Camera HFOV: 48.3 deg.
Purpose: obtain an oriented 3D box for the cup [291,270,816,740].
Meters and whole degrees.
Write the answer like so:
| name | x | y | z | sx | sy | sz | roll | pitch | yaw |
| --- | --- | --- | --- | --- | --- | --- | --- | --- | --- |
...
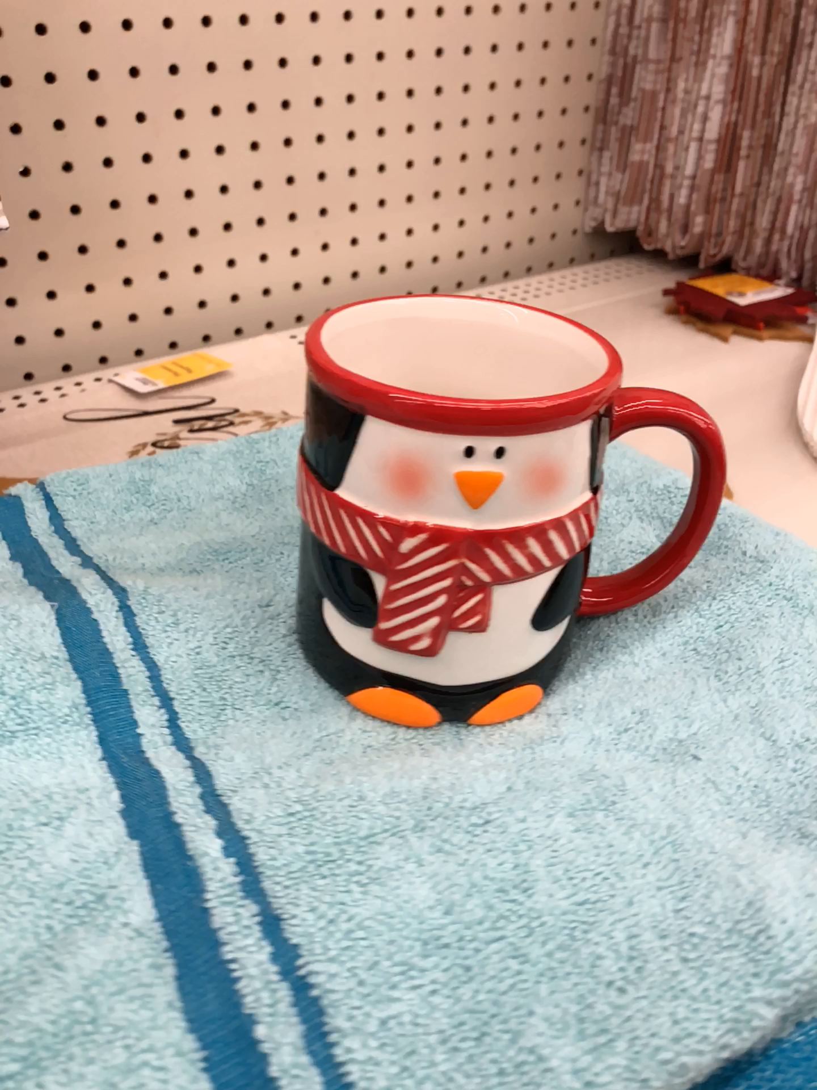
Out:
| name | x | y | z | sx | sy | sz | roll | pitch | yaw |
| --- | --- | --- | --- | --- | --- | --- | --- | --- | --- |
| cup | 0.030 | -0.015 | 0.279 | 0.130 | 0.110 | 0.090 | -1 | 31 | -7 |
